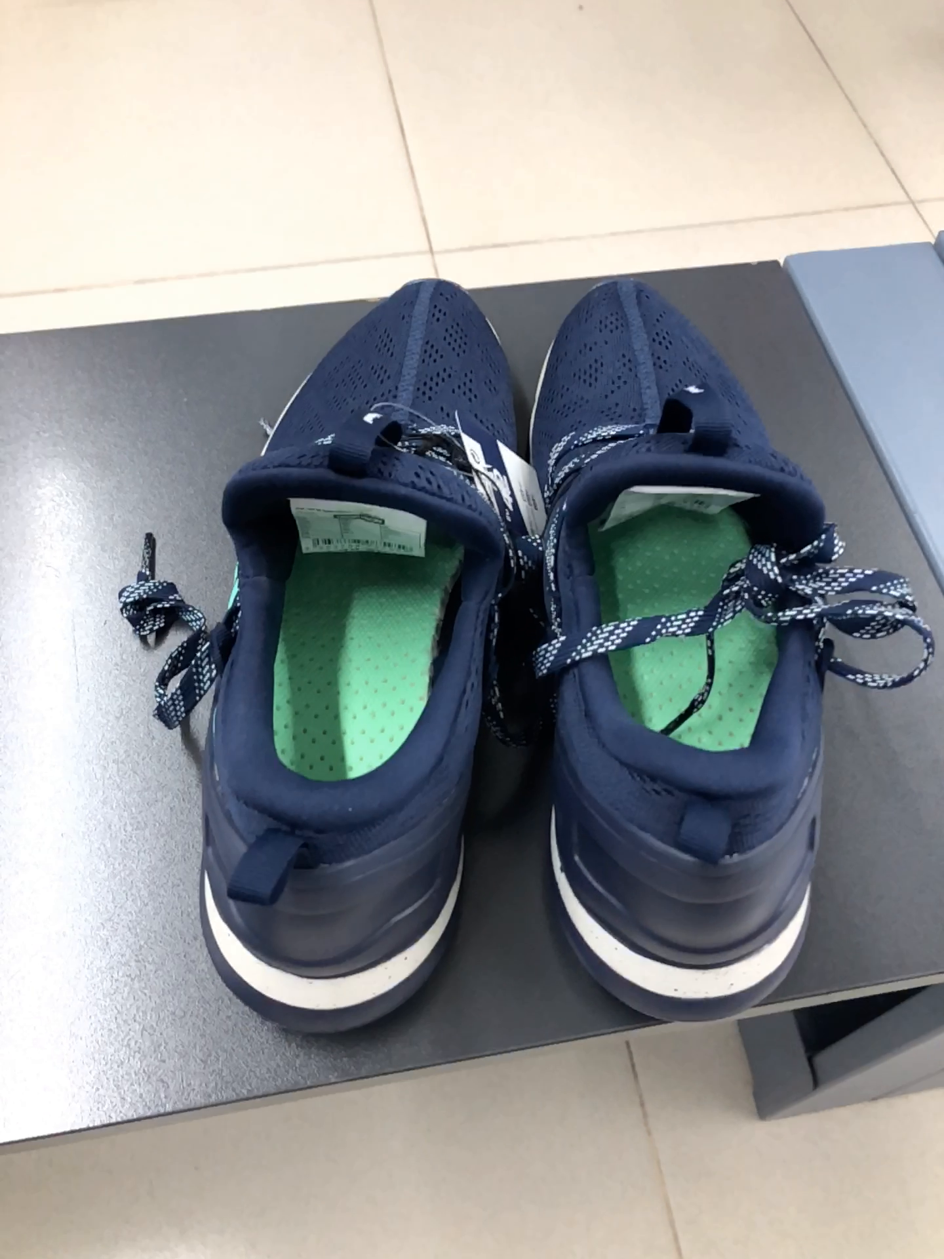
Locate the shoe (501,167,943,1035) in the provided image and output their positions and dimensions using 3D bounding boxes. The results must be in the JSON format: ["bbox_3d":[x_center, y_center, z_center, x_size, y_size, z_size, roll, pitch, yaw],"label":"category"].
[{"bbox_3d":[0.063,-0.015,0.333,0.100,0.119,0.251,2,58,-1],"label":"shoe"}]

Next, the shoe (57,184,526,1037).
[{"bbox_3d":[-0.037,-0.012,0.340,0.100,0.119,0.251,2,58,-1],"label":"shoe"}]
